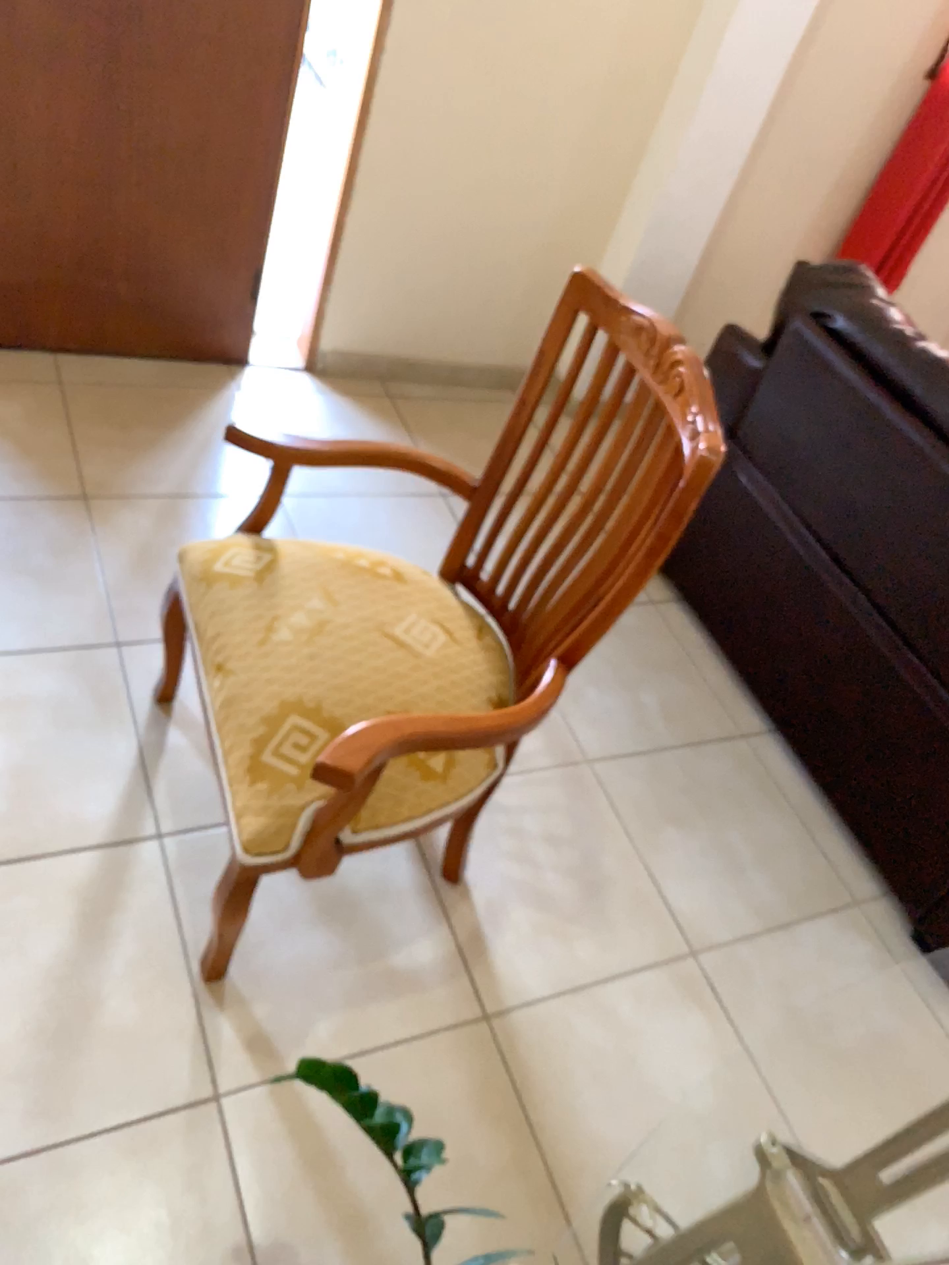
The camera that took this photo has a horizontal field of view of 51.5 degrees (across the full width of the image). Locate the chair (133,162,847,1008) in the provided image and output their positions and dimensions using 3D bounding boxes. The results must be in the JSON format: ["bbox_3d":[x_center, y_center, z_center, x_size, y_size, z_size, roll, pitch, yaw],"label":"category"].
[{"bbox_3d":[-0.114,-0.016,1.496,0.632,1.014,0.622,-2,47,-27],"label":"chair"}]
